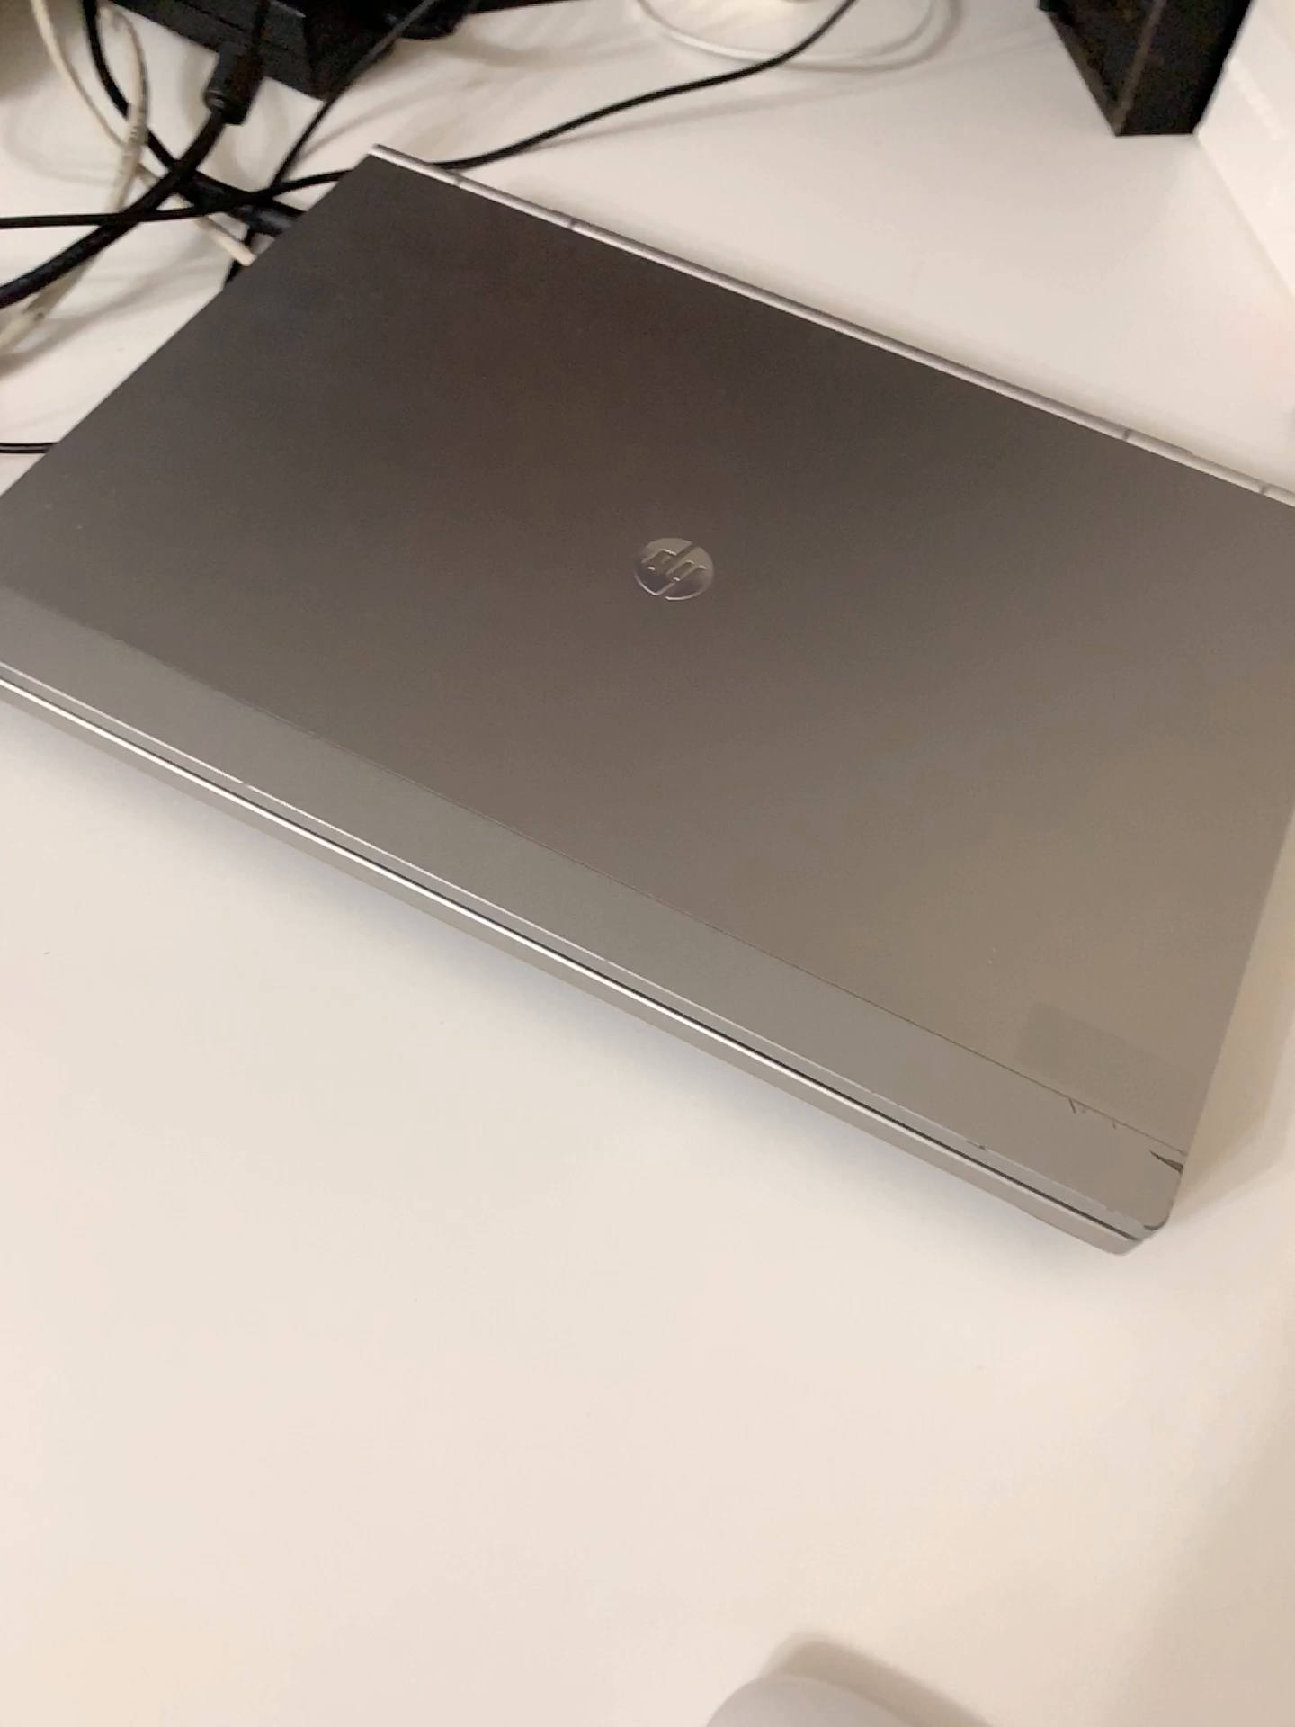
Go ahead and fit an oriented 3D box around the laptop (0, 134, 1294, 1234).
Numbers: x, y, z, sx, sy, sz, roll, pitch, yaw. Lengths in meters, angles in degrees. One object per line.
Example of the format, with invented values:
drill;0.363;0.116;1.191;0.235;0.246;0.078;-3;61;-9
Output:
laptop;-0.004;-0.069;0.326;0.291;0.016;0.192;25;64;10
